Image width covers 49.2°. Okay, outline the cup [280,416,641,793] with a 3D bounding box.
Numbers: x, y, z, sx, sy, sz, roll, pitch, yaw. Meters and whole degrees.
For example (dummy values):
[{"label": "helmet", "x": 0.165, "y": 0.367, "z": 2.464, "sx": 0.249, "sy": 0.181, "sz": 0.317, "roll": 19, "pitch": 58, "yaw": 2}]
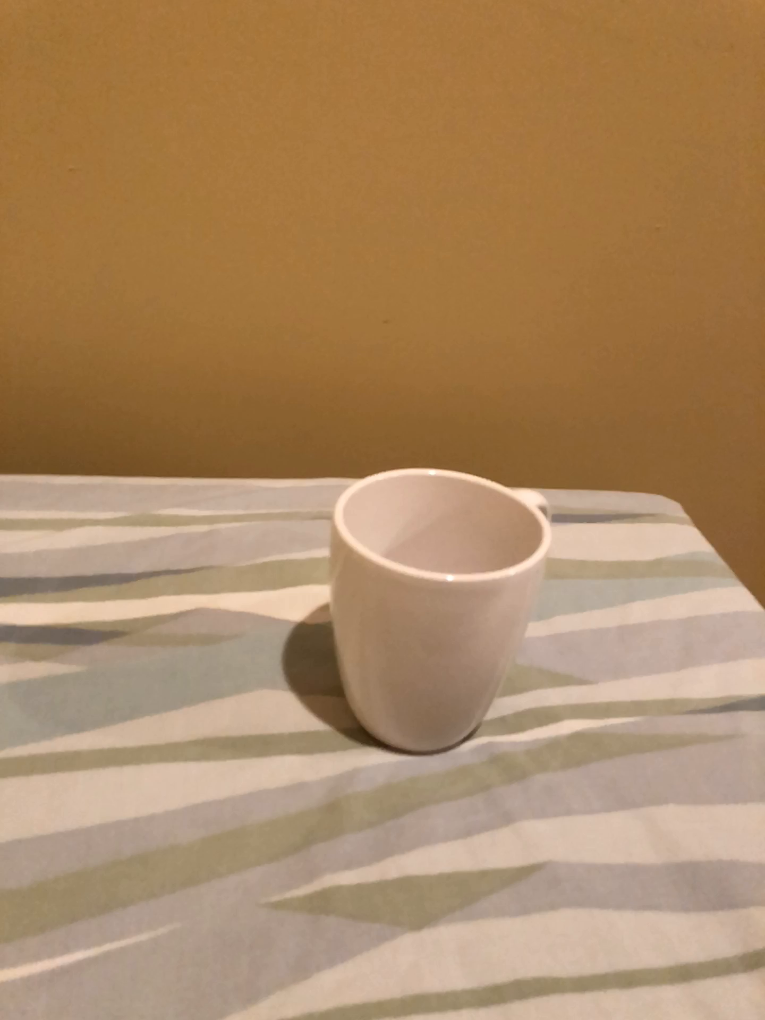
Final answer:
[{"label": "cup", "x": 0.033, "y": 0.031, "z": 0.359, "sx": 0.090, "sy": 0.090, "sz": 0.120, "roll": 27, "pitch": 36, "yaw": 32}]
